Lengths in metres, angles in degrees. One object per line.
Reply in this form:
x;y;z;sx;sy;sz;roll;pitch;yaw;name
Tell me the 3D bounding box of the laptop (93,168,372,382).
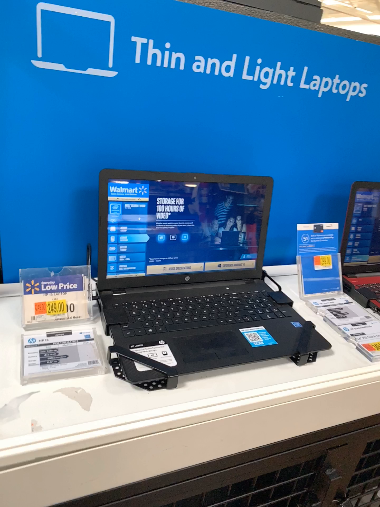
0.043;0.007;0.687;0.363;0.225;0.287;-3;27;-24;laptop
